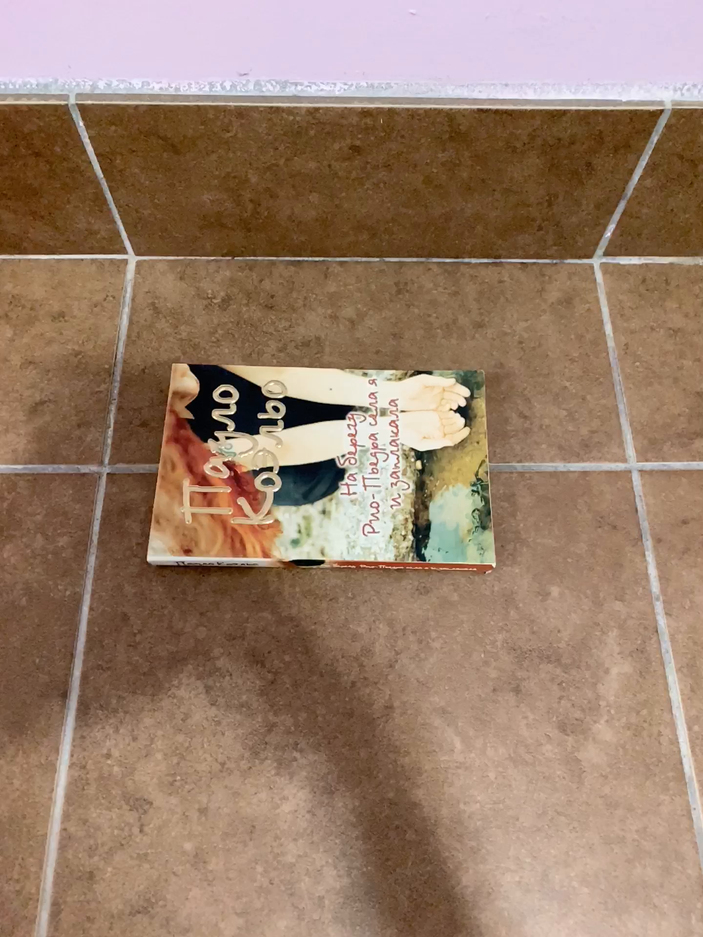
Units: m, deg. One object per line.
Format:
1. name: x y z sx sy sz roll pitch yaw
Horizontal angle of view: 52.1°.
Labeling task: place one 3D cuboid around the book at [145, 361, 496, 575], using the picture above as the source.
1. book: -0.015 -0.003 0.401 0.181 0.016 0.120 1 67 0
